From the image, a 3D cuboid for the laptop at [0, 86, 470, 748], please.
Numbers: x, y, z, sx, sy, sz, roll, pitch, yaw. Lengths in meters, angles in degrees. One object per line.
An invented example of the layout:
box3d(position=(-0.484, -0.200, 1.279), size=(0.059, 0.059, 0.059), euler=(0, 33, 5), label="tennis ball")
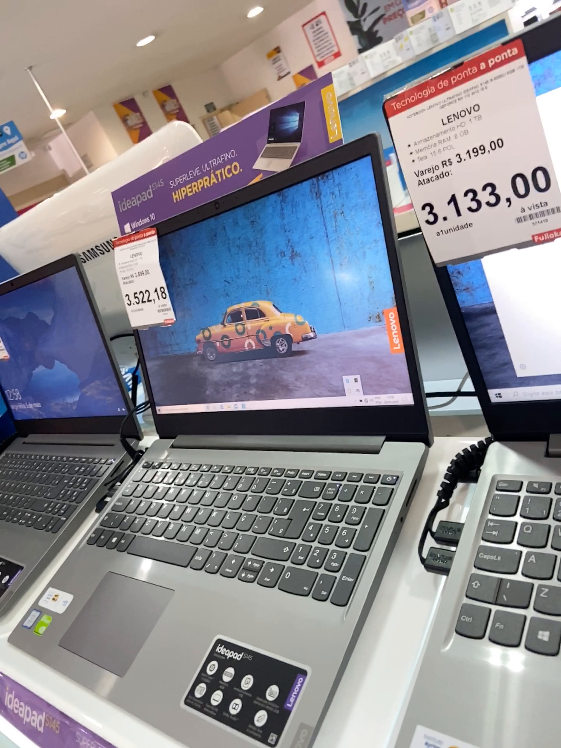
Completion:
box3d(position=(-0.091, 0.016, 0.477), size=(0.347, 0.209, 0.365), euler=(-7, 36, 43), label="laptop")
